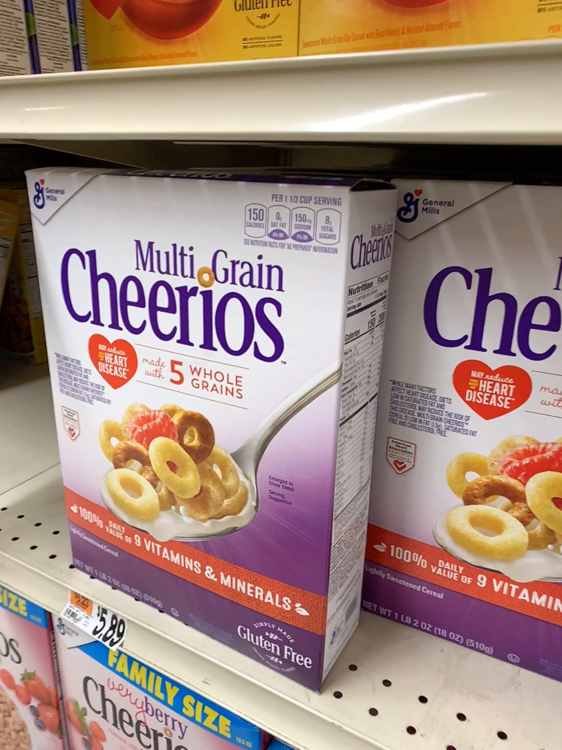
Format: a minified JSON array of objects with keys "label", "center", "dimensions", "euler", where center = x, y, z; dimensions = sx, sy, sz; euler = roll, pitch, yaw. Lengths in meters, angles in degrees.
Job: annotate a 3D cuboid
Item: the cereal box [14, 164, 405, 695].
[{"label":"cereal box","center":[-0.059,0.023,0.409],"dimensions":[0.250,0.319,0.070],"euler":[13,22,28]}]
